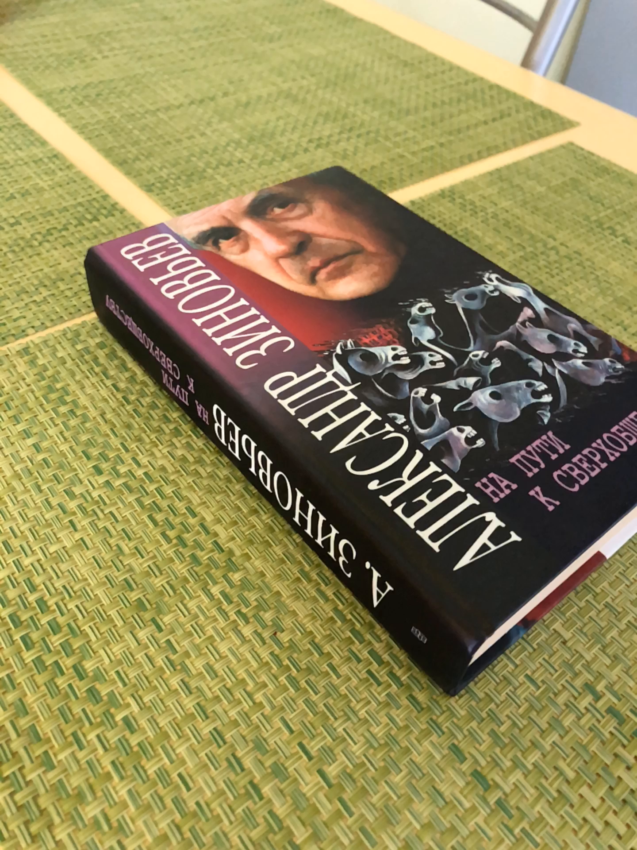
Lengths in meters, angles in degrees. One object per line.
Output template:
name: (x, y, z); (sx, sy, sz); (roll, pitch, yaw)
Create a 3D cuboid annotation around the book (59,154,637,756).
book: (0.027, -0.020, 0.254); (0.151, 0.040, 0.201); (-29, 56, -30)
